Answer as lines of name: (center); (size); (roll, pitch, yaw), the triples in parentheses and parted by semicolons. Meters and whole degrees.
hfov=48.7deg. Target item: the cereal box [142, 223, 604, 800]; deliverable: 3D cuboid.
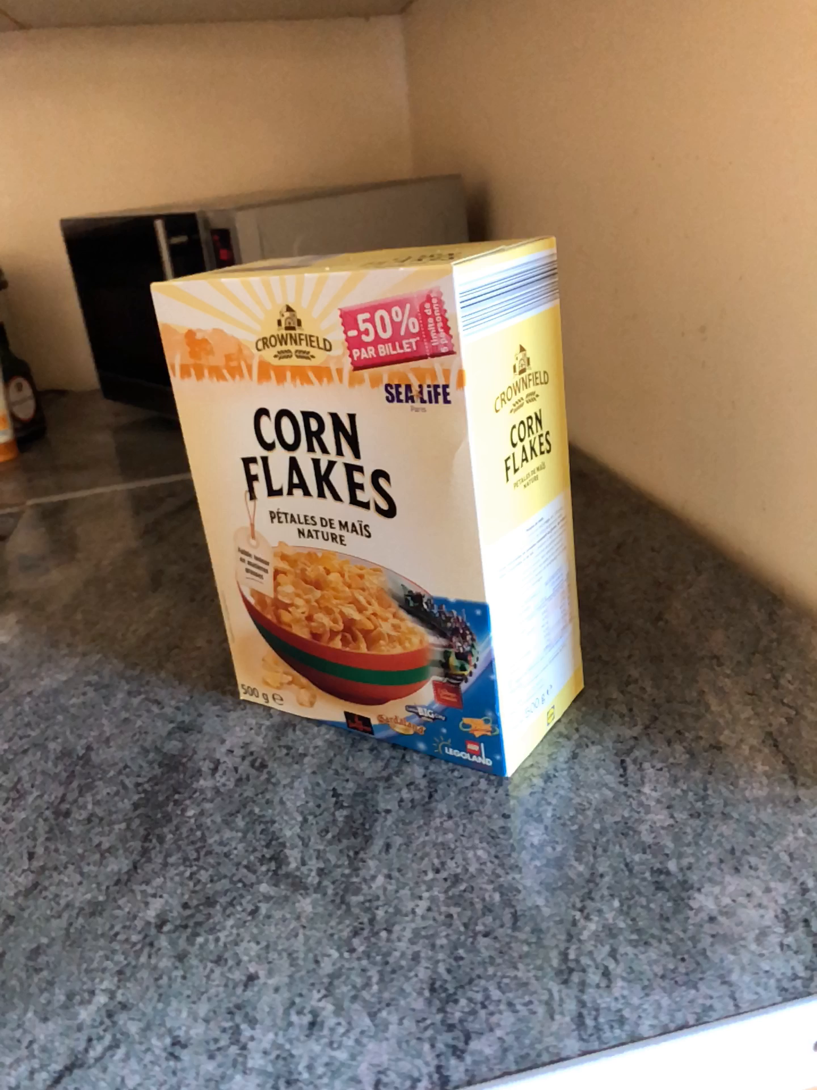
cereal box: (-0.012, -0.026, 0.488); (0.200, 0.259, 0.101); (9, 27, 34)
